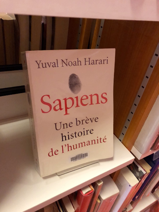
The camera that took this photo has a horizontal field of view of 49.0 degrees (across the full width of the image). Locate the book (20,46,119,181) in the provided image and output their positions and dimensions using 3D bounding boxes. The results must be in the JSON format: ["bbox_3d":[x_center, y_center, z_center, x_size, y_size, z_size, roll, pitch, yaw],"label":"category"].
[{"bbox_3d":[-0.012,0.007,0.360,0.178,0.243,0.052,-9,17,-23],"label":"book"}]
